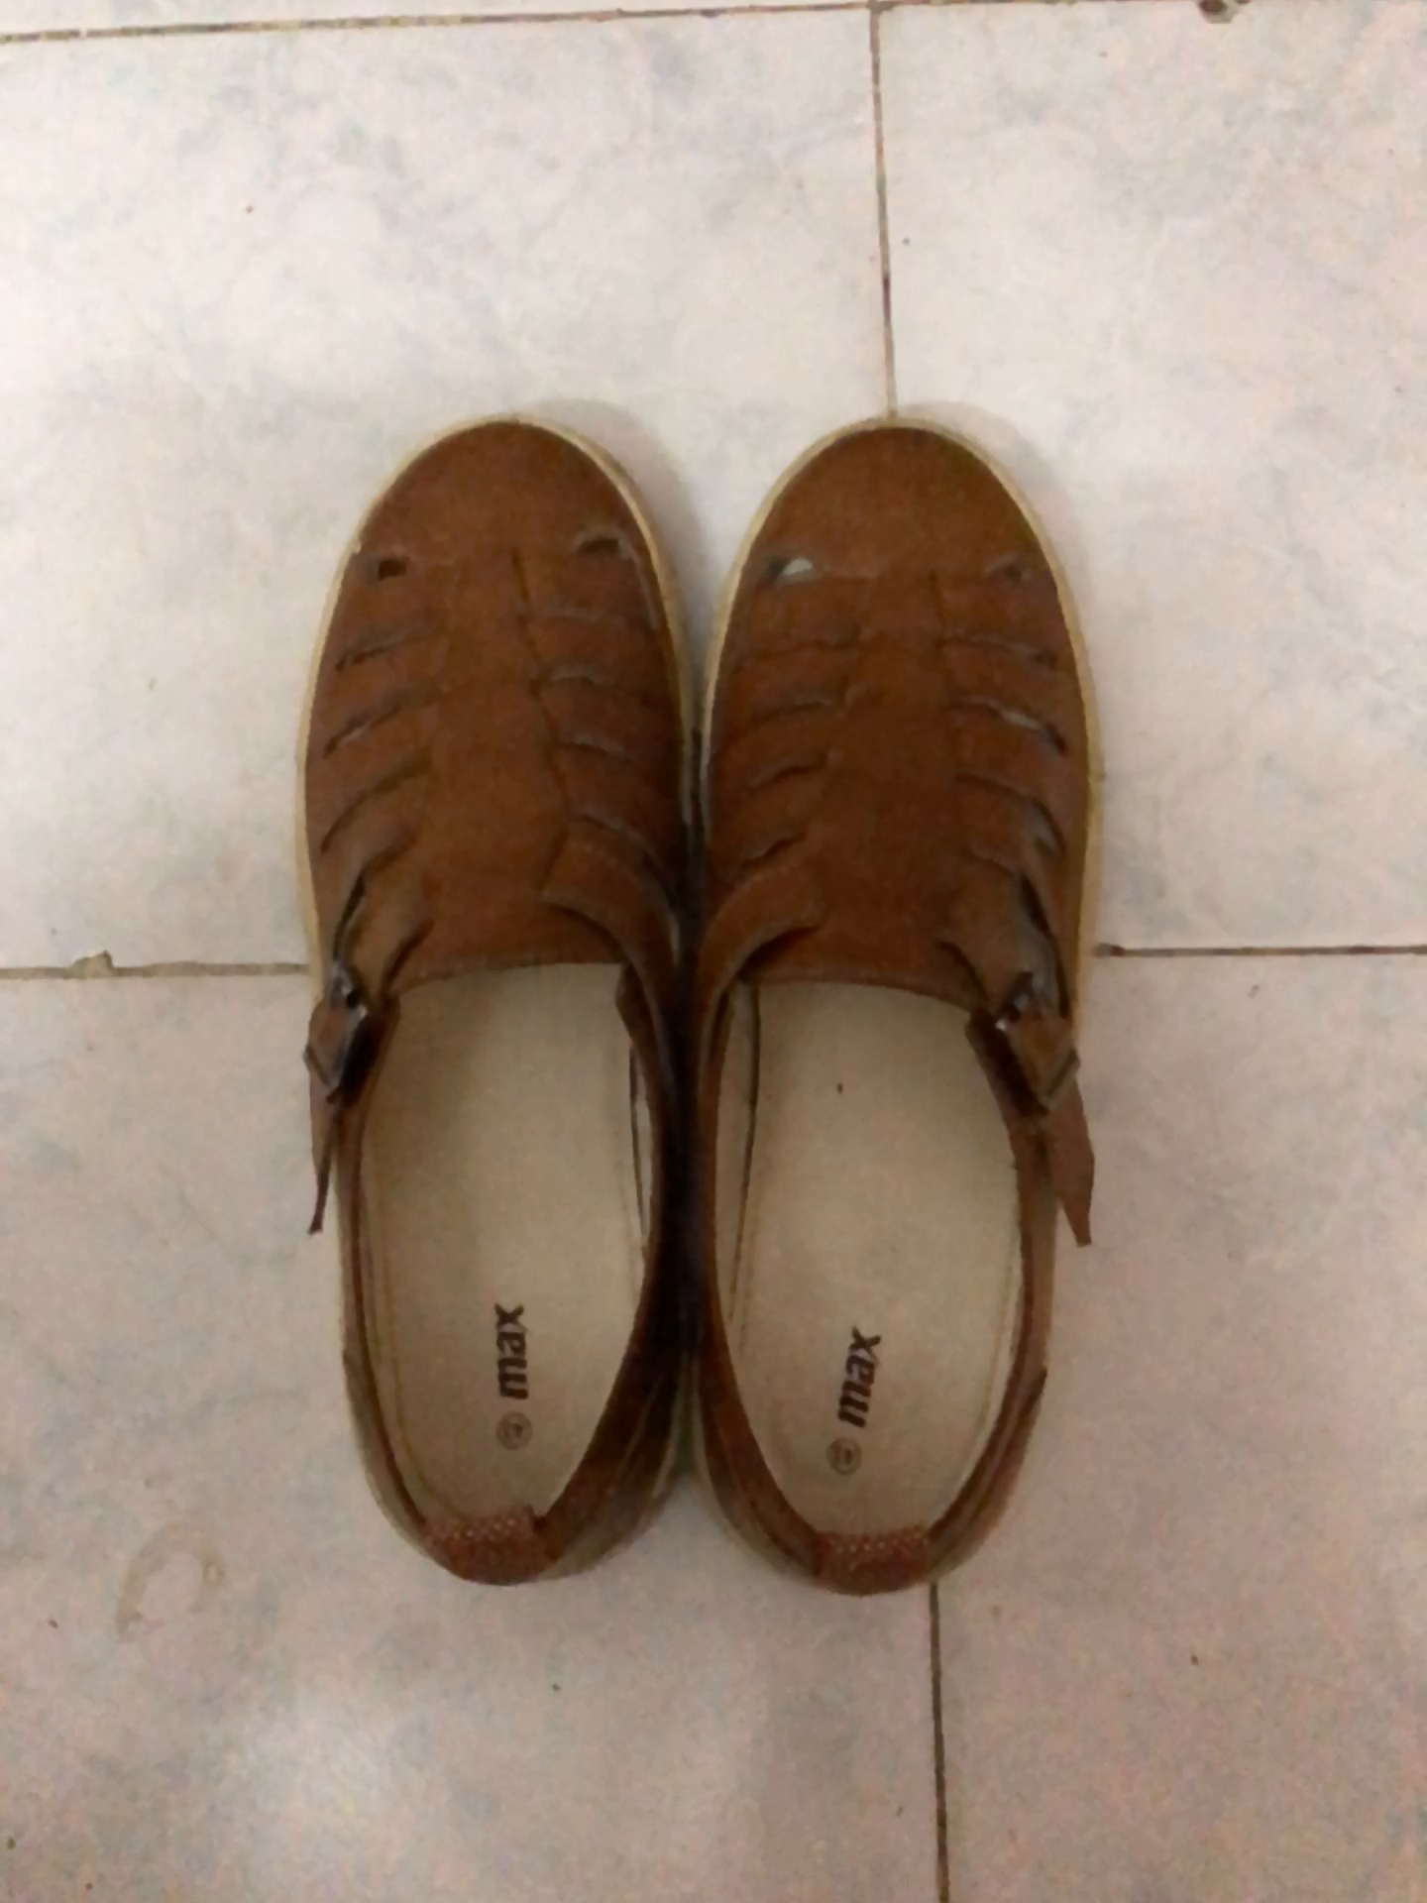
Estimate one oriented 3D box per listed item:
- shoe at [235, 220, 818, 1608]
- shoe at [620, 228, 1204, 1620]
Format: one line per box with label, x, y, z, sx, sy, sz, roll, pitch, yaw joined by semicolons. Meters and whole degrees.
shoe;-0.045;-0.012;0.391;0.110;0.100;0.300;-5;77;0
shoe;0.042;-0.010;0.383;0.110;0.100;0.300;1;77;2
